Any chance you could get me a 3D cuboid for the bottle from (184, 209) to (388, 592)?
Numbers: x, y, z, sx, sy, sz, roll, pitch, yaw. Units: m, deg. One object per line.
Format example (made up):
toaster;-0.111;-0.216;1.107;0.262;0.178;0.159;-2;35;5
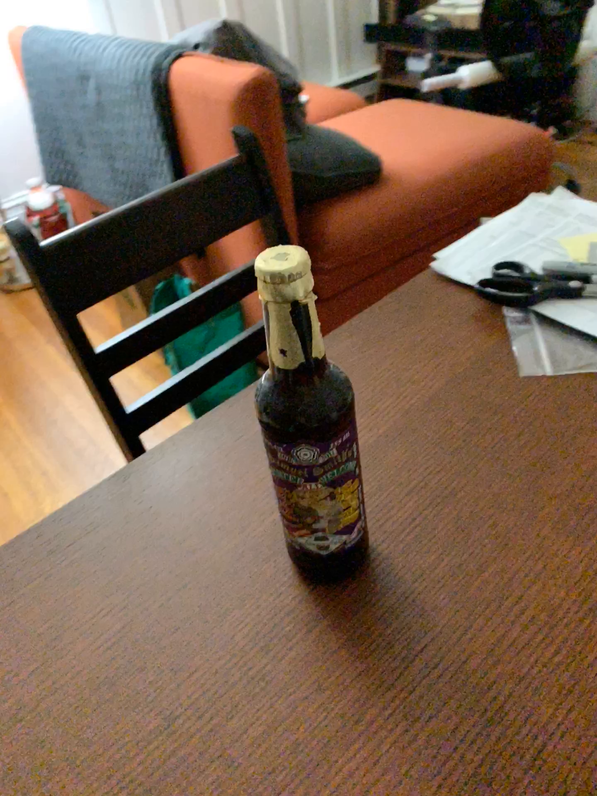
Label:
bottle;0.006;0.013;0.372;0.070;0.229;0.070;-5;40;4
